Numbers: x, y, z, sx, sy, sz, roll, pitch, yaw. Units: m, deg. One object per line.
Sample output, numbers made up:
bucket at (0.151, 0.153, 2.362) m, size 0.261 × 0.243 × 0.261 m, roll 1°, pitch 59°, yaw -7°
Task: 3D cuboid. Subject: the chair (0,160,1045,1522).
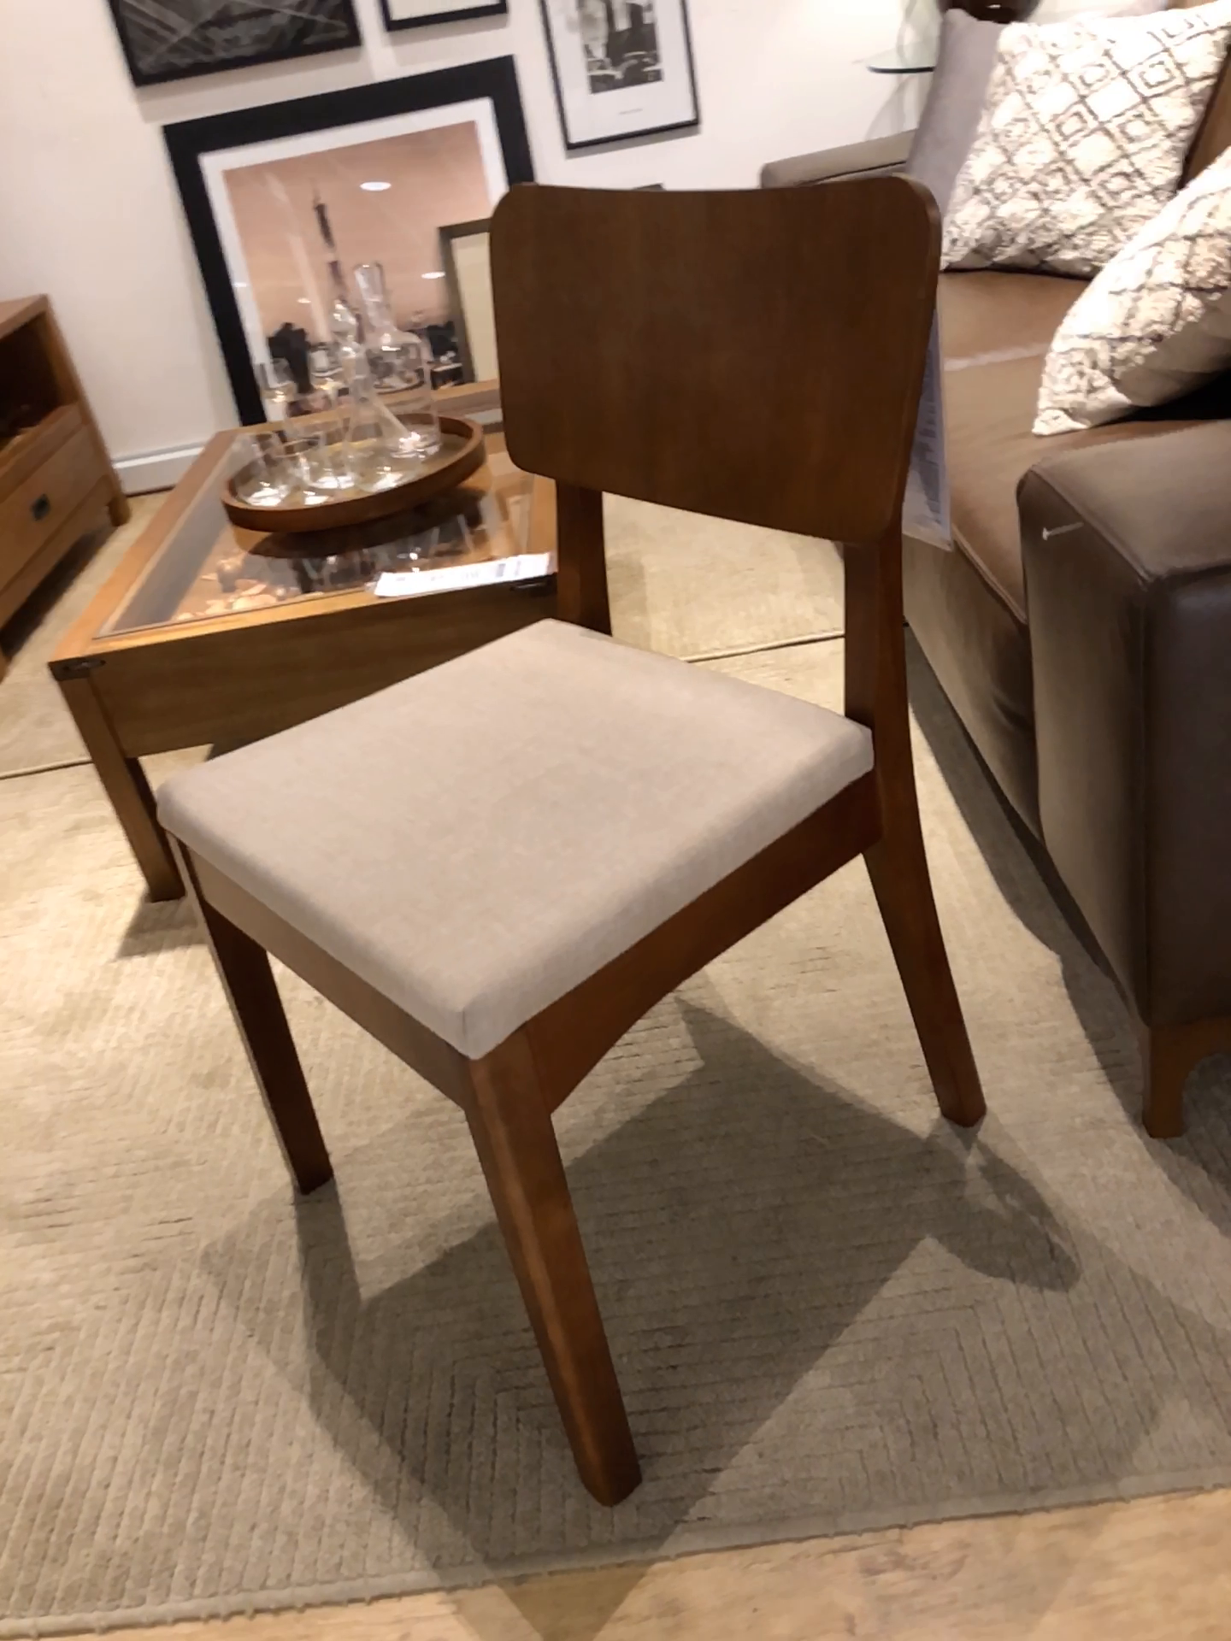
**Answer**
chair at (-0.040, -0.027, 1.076) m, size 0.532 × 0.794 × 0.512 m, roll -31°, pitch 37°, yaw -28°
